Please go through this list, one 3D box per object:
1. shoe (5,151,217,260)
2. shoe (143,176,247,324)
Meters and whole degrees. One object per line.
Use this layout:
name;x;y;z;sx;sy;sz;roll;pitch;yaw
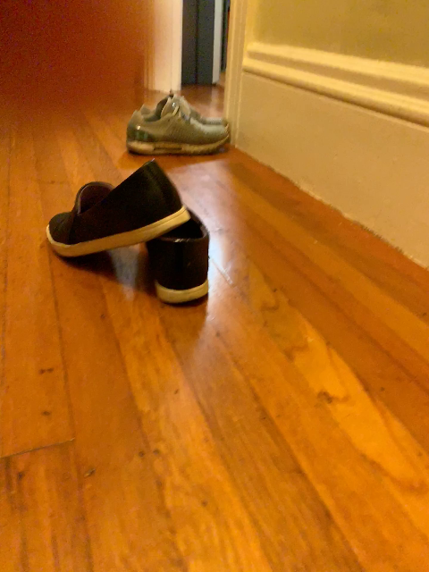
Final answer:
shoe;-0.133;-0.091;0.531;0.250;0.080;0.100;0;22;39
shoe;-0.039;-0.062;0.568;0.100;0.079;0.262;-2;31;-10
